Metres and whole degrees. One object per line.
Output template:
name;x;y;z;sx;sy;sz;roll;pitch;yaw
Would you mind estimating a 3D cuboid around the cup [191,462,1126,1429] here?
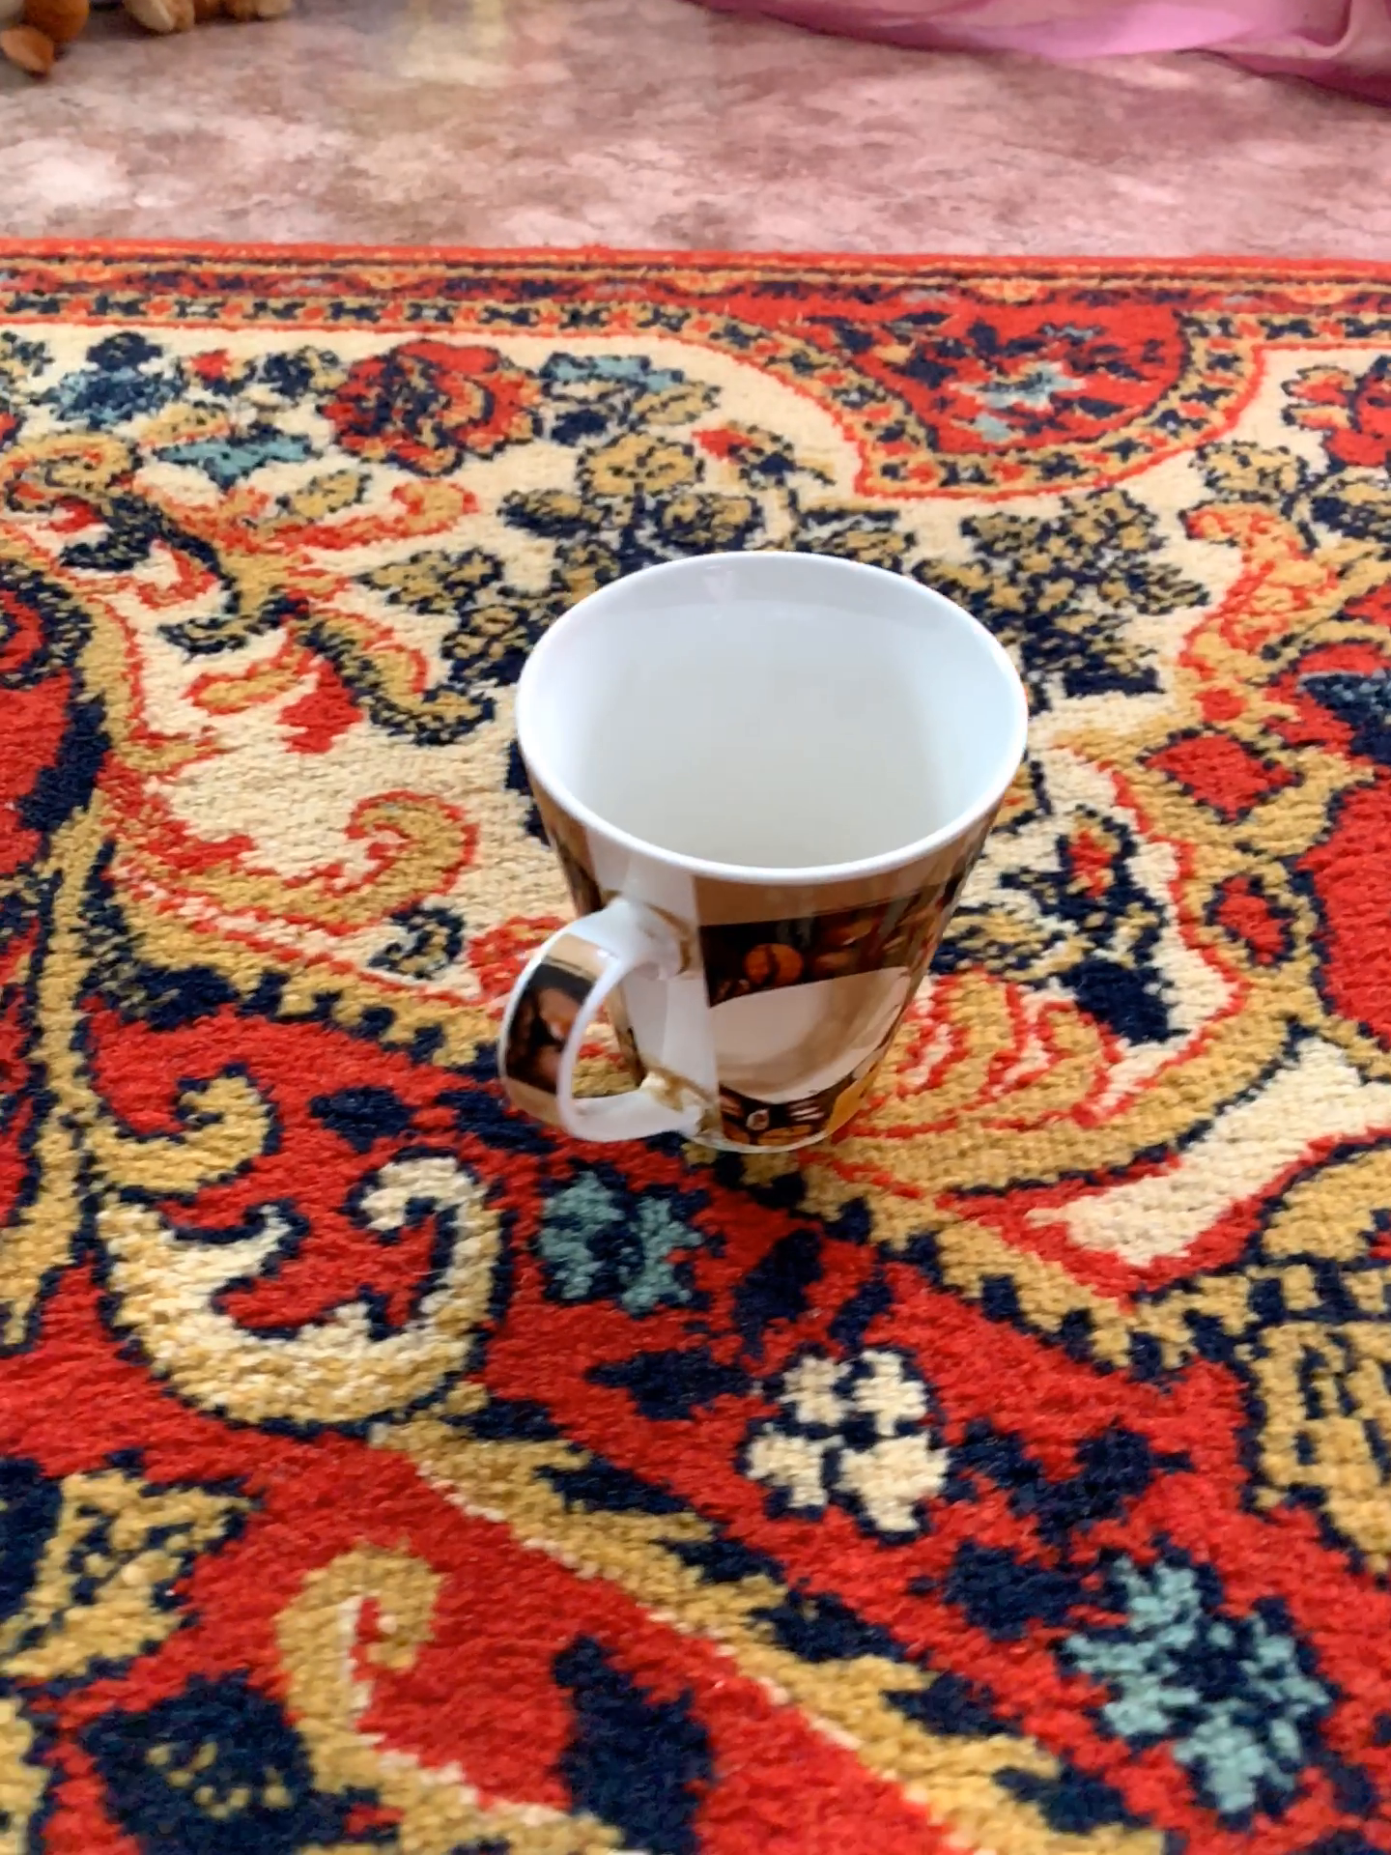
cup;0.000;-0.004;0.229;0.080;0.079;0.111;28;51;24
